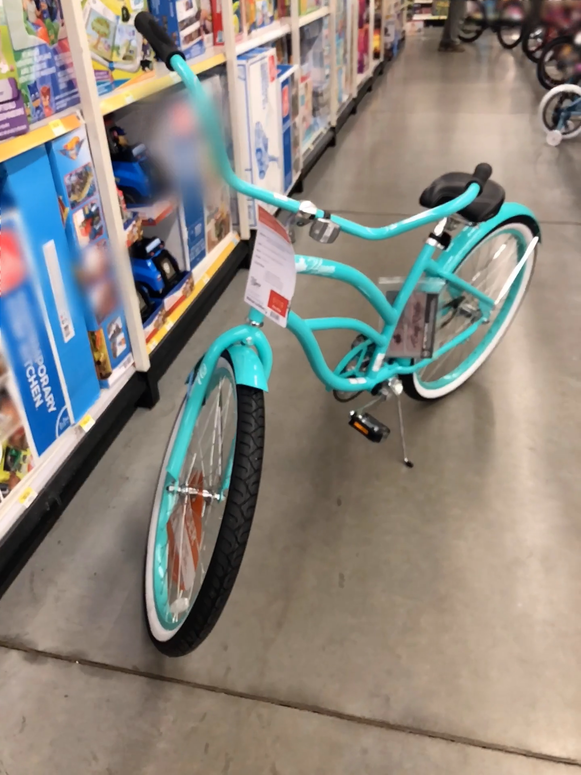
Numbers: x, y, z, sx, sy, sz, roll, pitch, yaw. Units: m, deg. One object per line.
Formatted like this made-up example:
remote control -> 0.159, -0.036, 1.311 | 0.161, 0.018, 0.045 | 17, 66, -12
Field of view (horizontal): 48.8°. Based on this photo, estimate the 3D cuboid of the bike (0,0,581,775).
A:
bike -> 0.265, -0.130, 1.470 | 0.760, 1.143, 1.497 | 22, 44, 32
